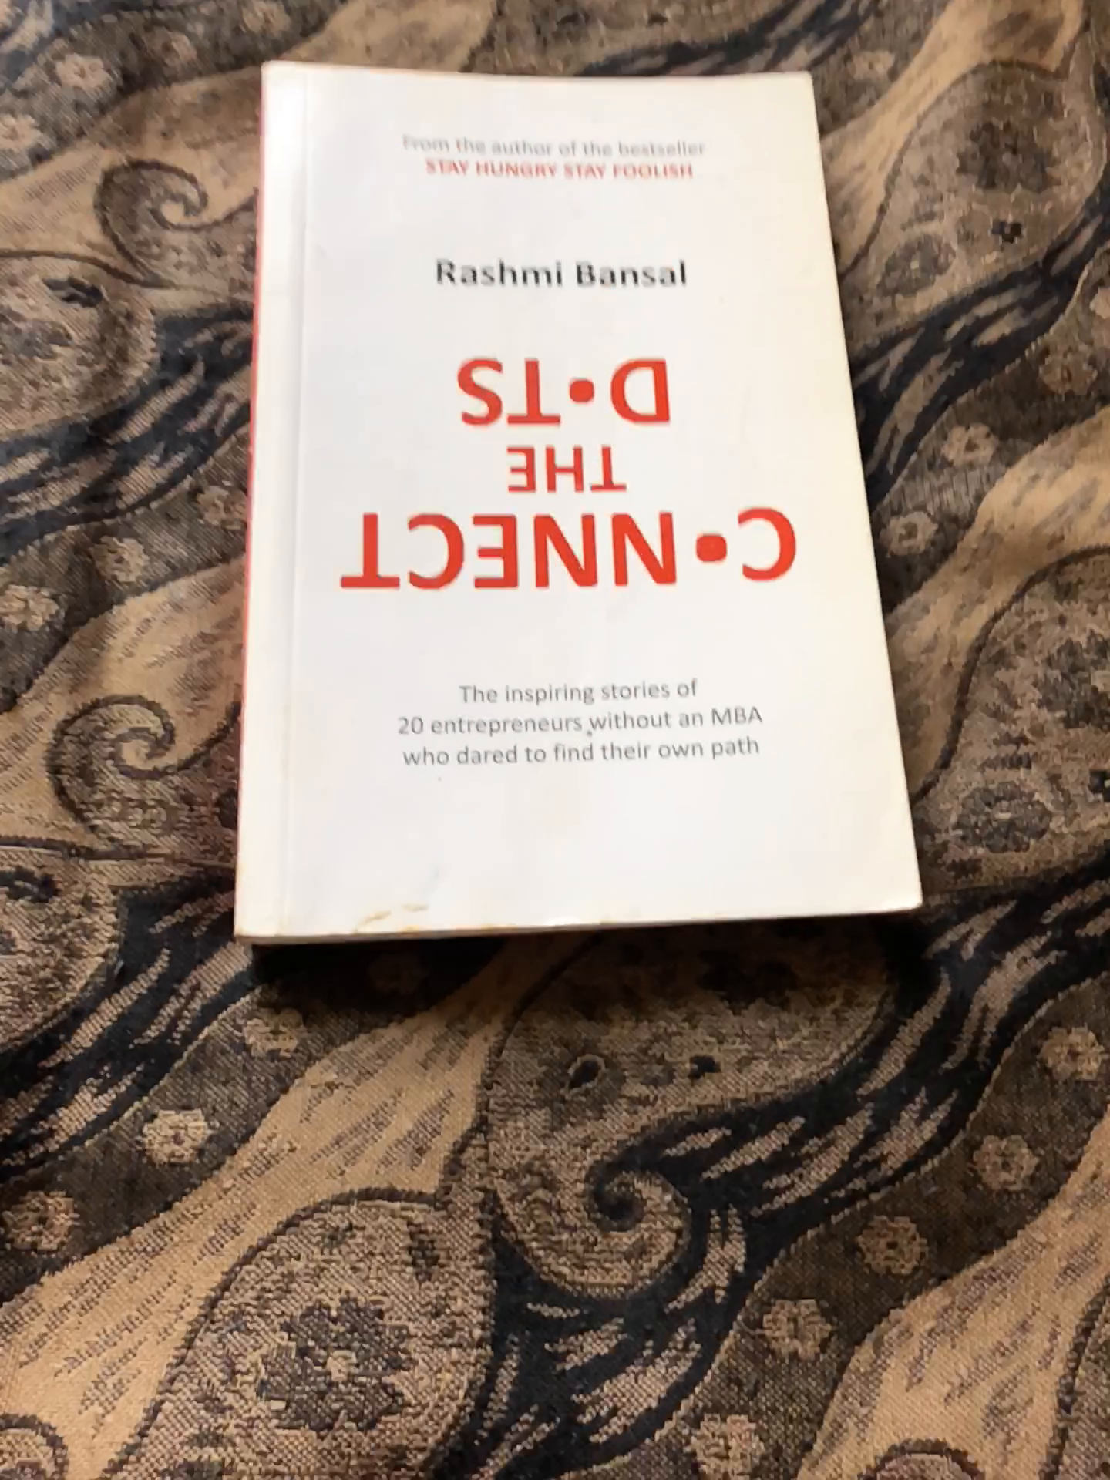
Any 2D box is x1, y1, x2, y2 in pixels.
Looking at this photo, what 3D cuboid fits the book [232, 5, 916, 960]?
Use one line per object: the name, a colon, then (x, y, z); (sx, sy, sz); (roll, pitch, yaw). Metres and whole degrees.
book: (-0.001, -0.065, 0.287); (0.130, 0.040, 0.220); (-2, 73, -1)
